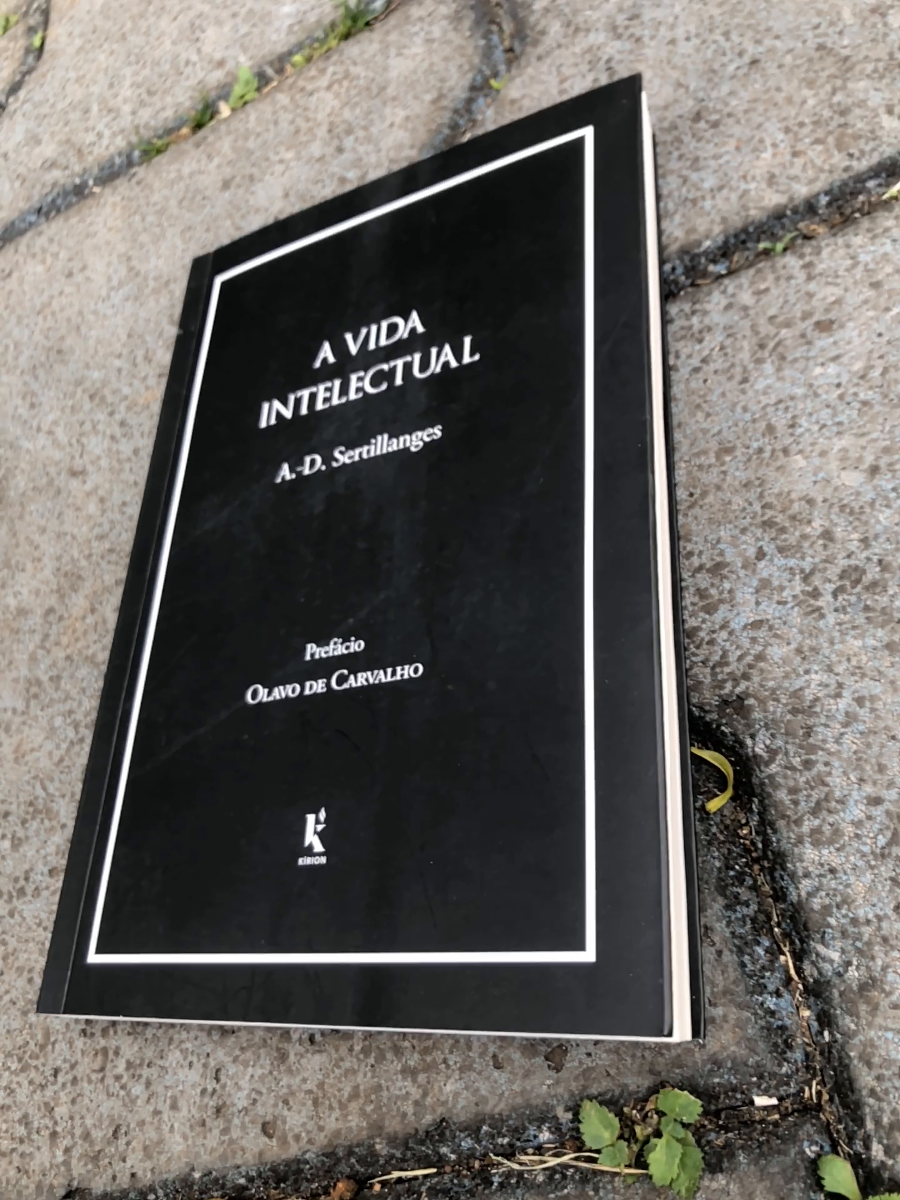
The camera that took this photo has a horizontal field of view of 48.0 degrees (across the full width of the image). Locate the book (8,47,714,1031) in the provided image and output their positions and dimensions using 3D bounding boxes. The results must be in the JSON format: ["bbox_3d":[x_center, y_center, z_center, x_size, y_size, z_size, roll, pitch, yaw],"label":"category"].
[{"bbox_3d":[-0.019,-0.016,0.219,0.136,0.020,0.196,-11,62,28],"label":"book"}]
